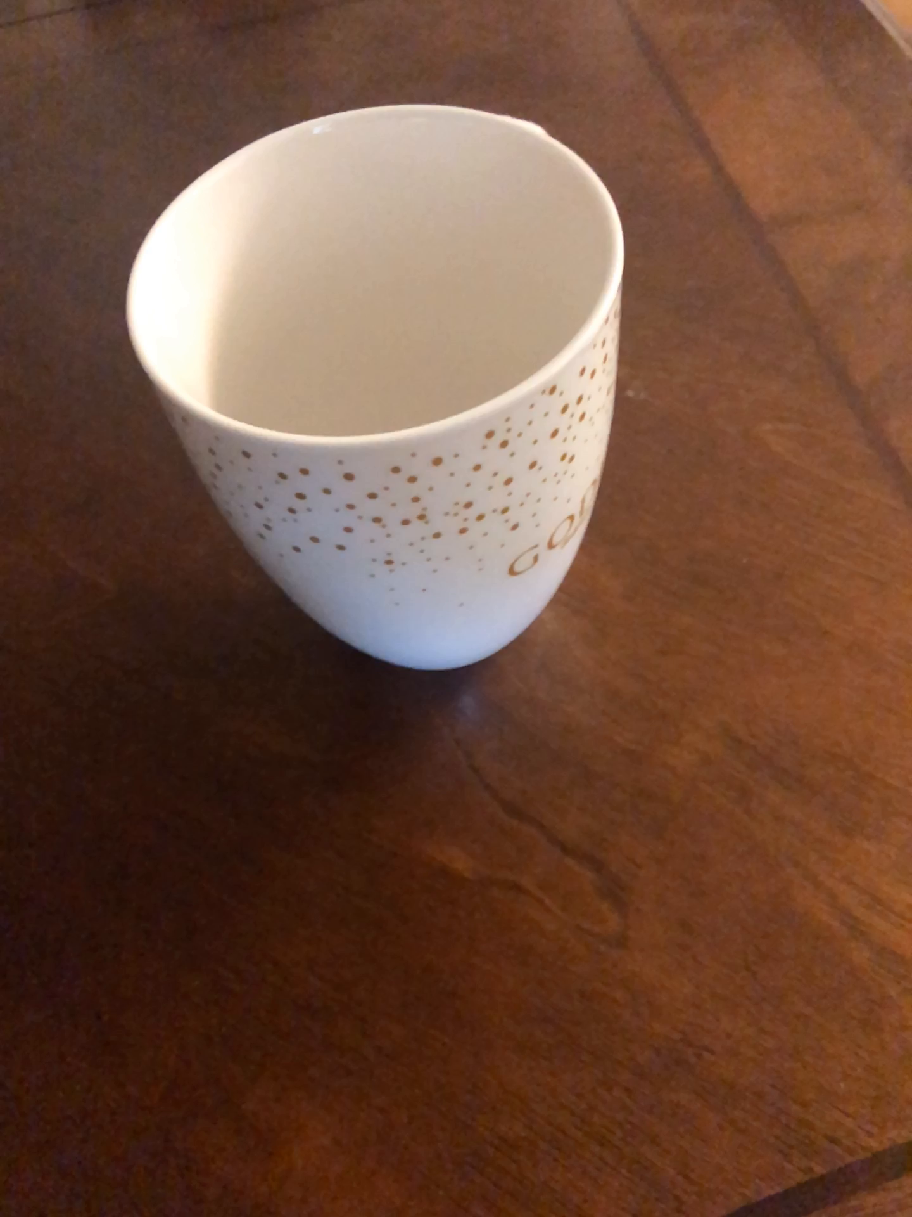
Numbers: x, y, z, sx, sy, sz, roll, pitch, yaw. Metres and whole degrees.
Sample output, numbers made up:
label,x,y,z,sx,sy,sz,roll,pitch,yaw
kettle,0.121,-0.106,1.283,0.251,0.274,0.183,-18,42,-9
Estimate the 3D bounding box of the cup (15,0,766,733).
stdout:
label,x,y,z,sx,sy,sz,roll,pitch,yaw
cup,-0.002,-0.068,0.245,0.100,0.100,0.140,18,61,17
